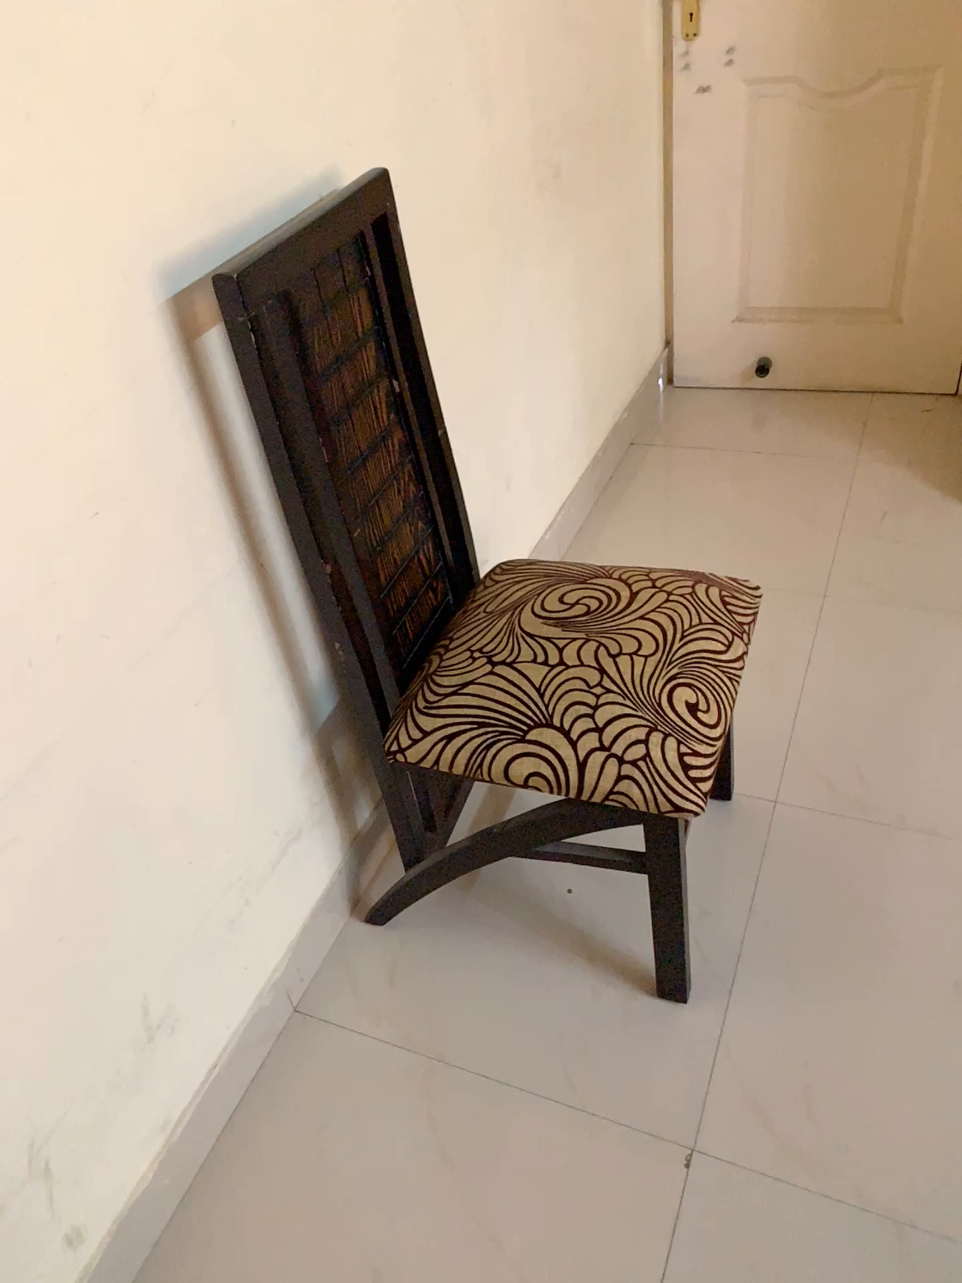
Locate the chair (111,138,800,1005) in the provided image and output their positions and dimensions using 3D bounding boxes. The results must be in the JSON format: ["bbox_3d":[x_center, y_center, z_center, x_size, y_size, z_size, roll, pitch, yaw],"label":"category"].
[{"bbox_3d":[0.064,-0.081,1.299,0.581,0.922,0.534,6,39,19],"label":"chair"}]
